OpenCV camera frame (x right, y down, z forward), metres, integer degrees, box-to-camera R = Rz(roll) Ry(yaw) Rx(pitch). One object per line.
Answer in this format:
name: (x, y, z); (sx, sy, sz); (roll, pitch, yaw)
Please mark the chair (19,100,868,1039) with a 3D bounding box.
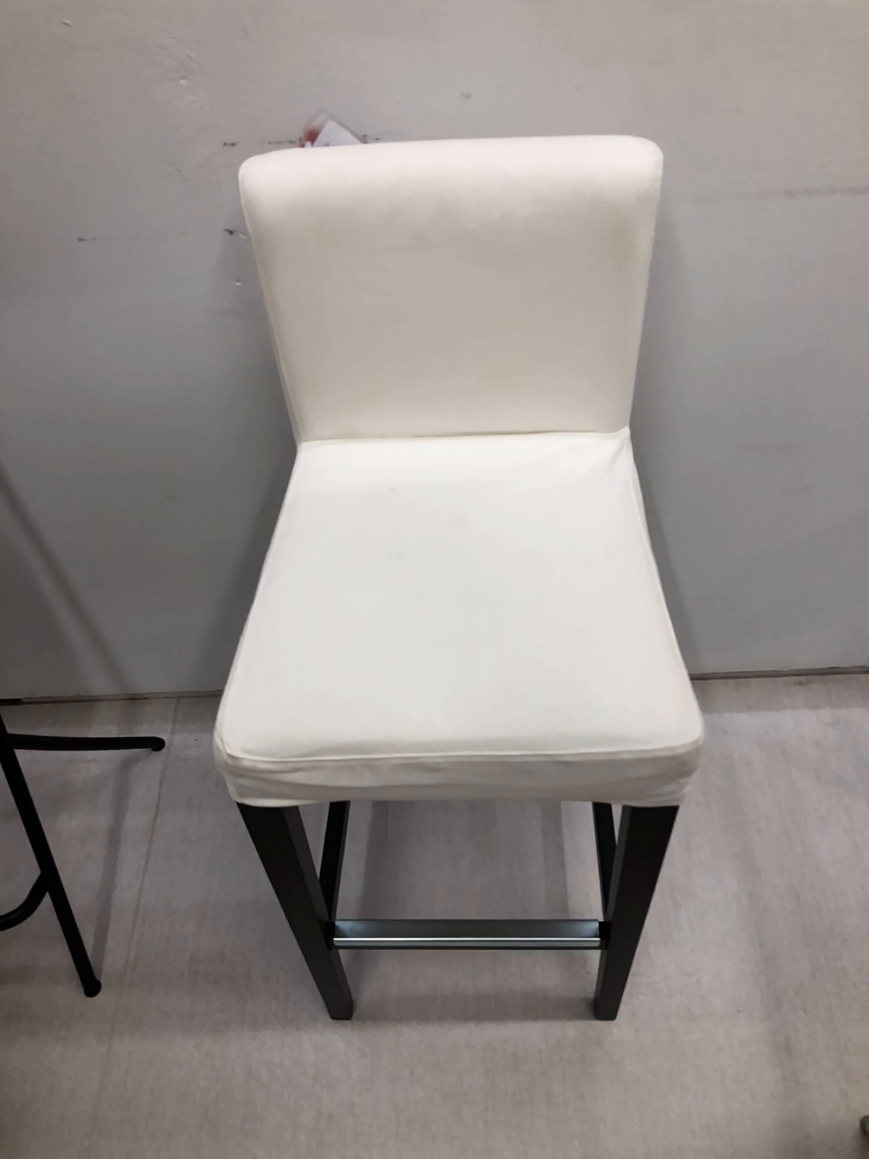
chair: (0.030, 0.073, 0.985); (0.440, 0.856, 0.533); (-2, 50, 3)
